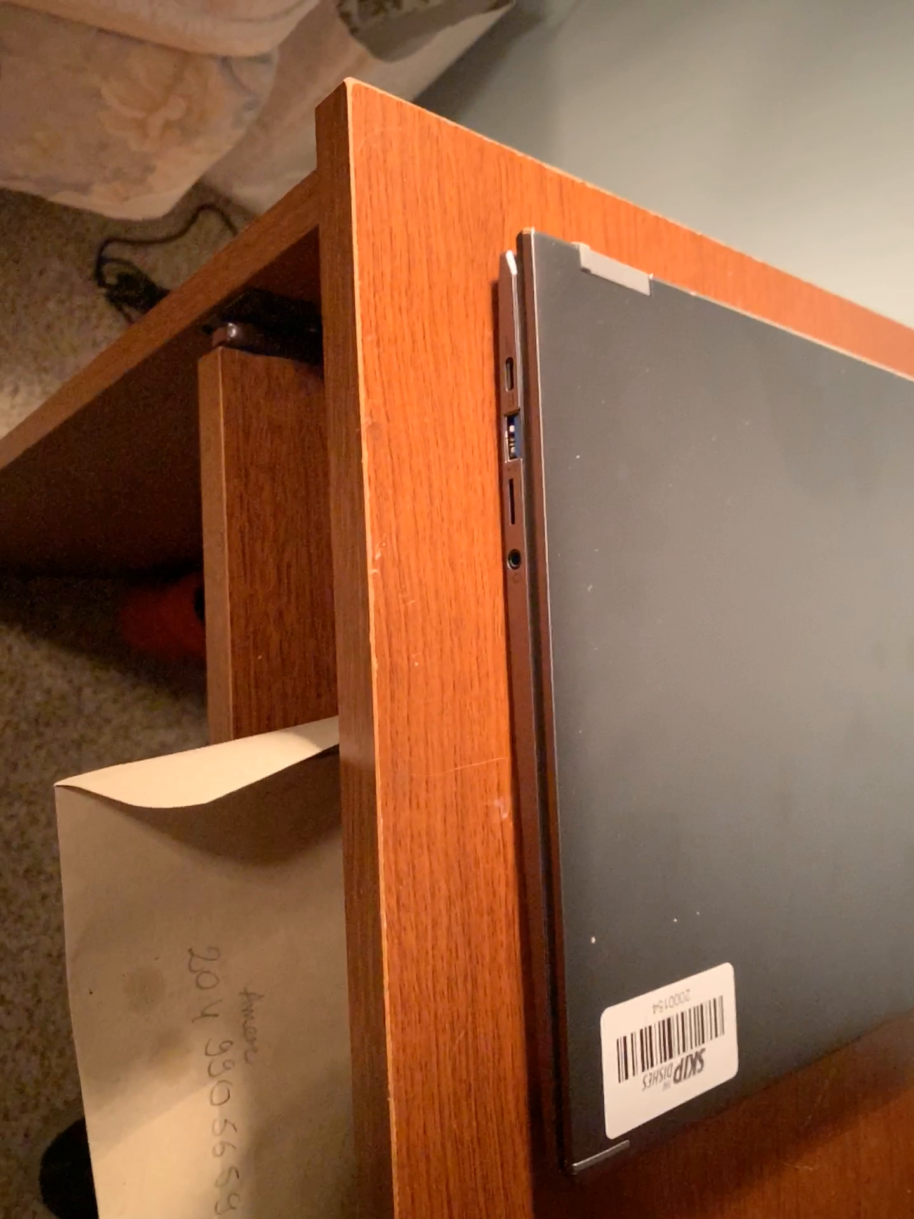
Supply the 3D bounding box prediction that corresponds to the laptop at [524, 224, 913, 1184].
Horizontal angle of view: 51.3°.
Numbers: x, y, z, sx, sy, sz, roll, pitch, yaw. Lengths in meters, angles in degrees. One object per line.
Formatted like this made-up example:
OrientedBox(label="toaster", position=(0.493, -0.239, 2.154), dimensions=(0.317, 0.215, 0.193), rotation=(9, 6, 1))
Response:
OrientedBox(label="laptop", position=(0.136, 0.023, 0.330), dimensions=(0.301, 0.002, 0.232), rotation=(3, 83, -41))
